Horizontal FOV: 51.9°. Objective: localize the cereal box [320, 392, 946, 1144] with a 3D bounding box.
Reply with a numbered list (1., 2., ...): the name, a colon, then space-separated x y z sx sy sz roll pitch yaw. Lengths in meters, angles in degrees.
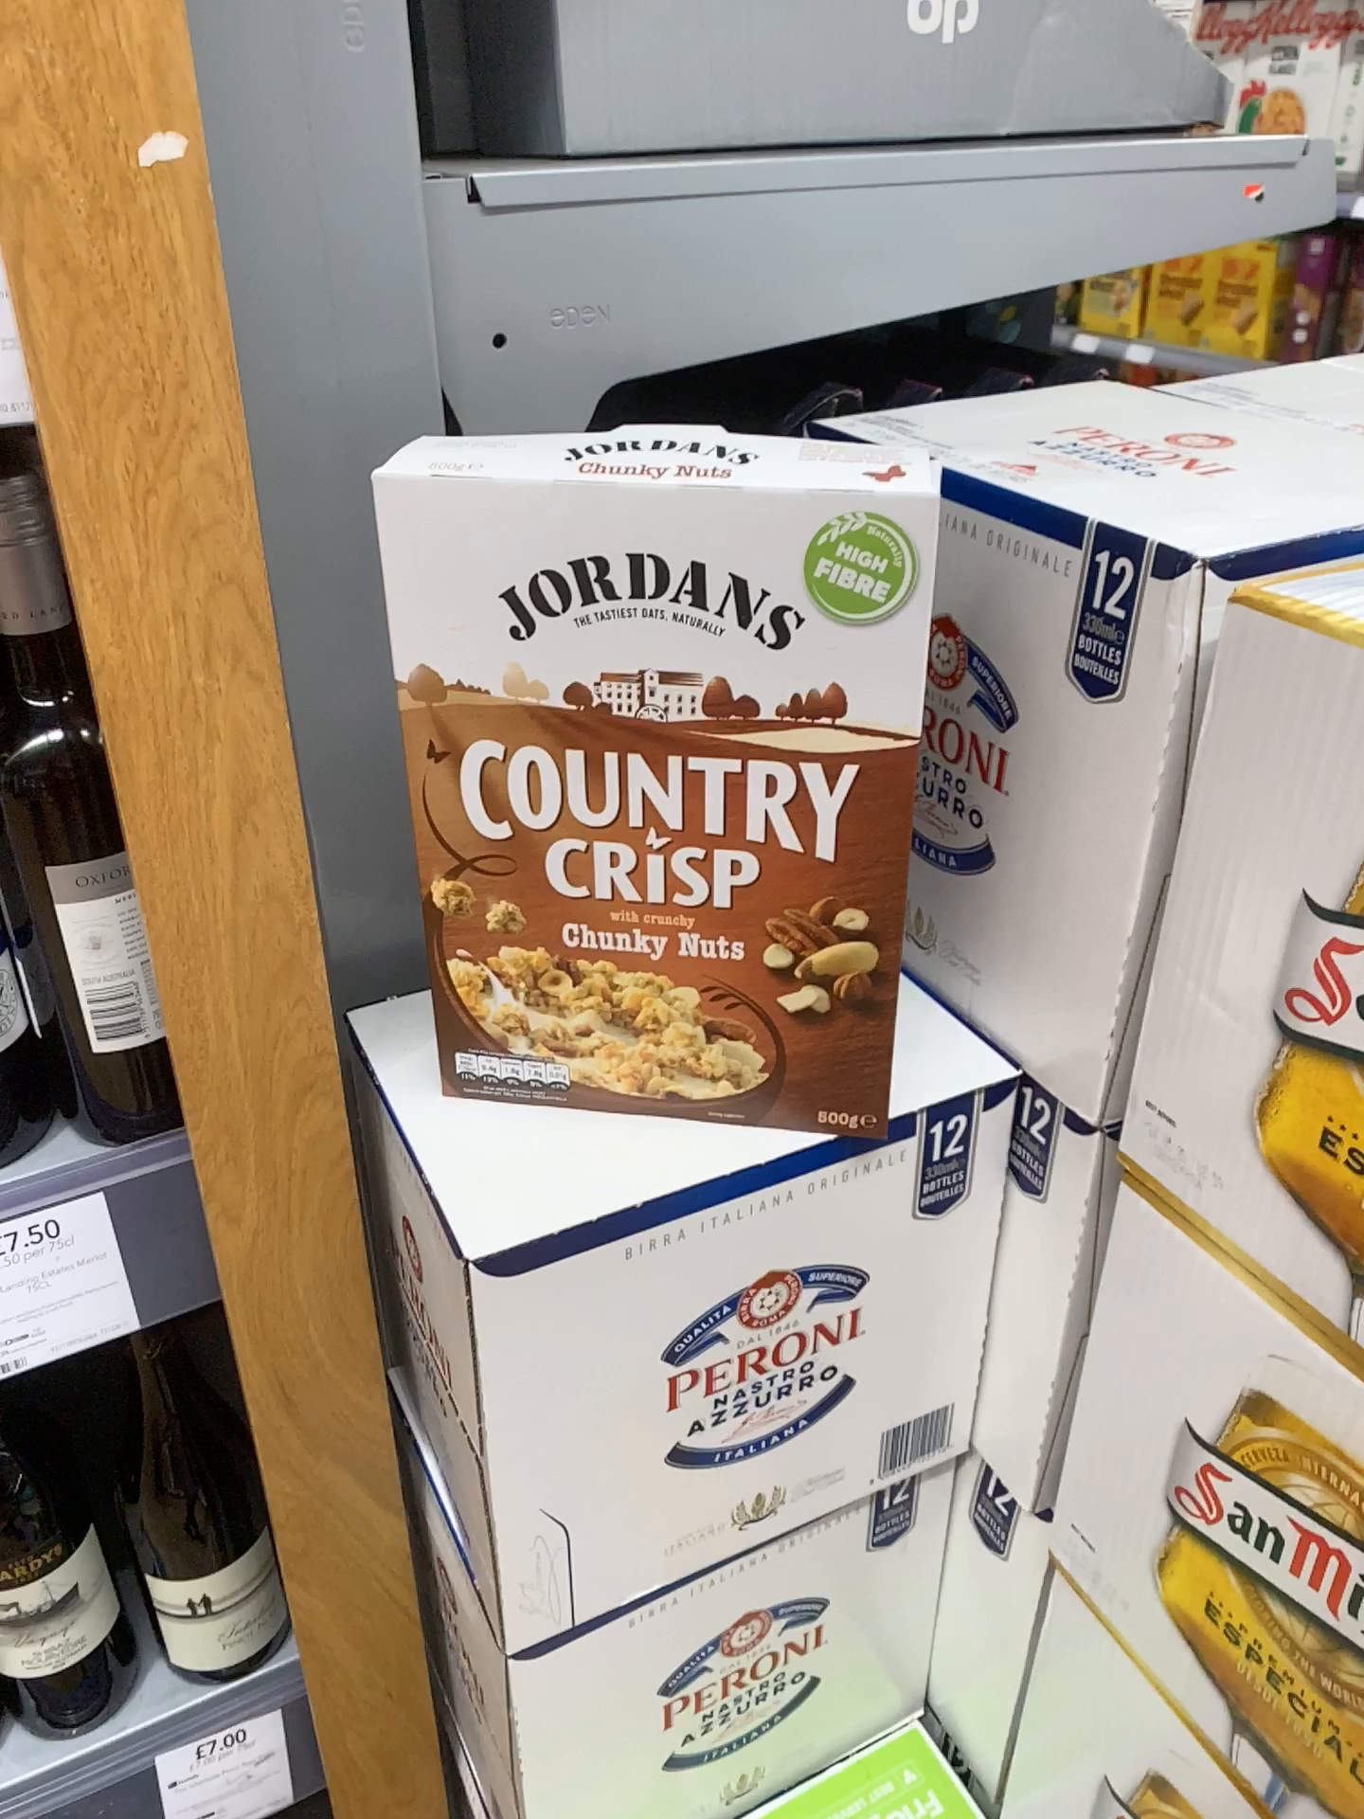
1. cereal box: -0.012 -0.043 0.501 0.190 0.257 0.050 4 29 9
